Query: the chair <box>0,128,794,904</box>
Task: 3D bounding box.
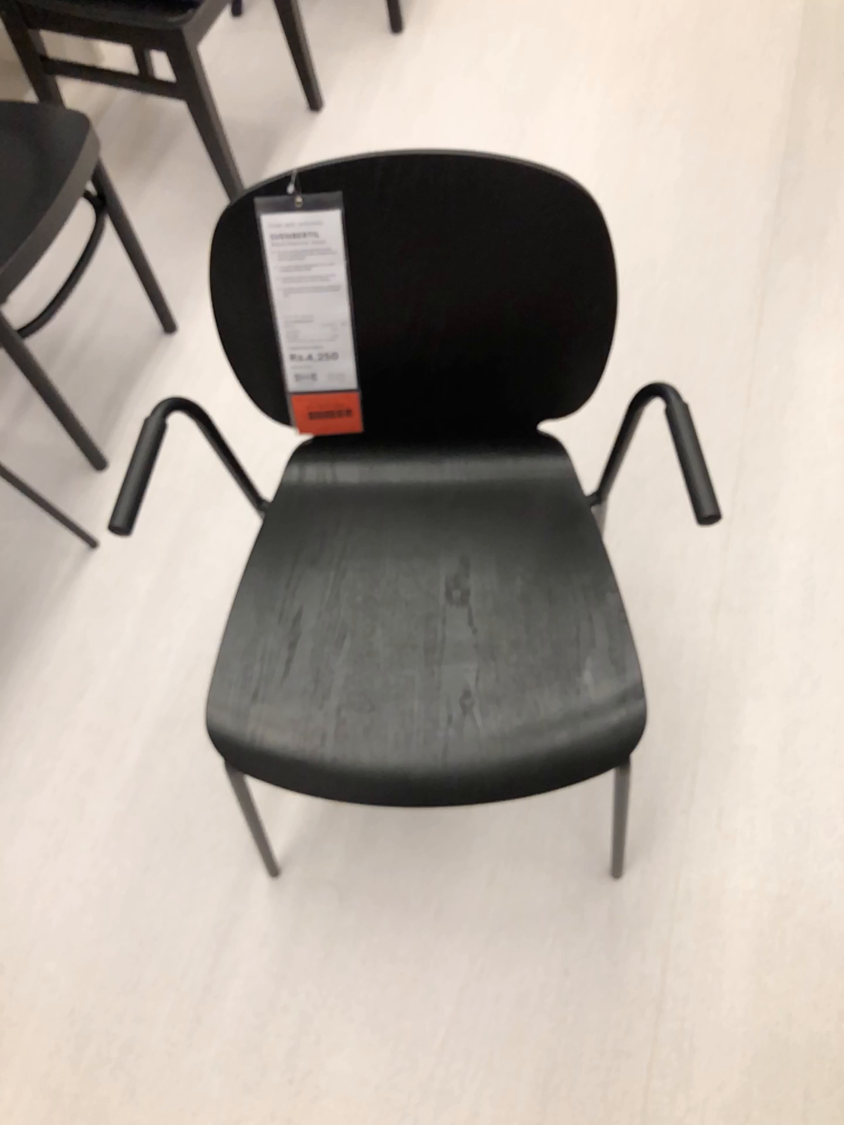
[{"bbox_3d":[0.010,0.016,1.051,0.530,0.687,0.582,1,62,5],"label":"chair"}]
